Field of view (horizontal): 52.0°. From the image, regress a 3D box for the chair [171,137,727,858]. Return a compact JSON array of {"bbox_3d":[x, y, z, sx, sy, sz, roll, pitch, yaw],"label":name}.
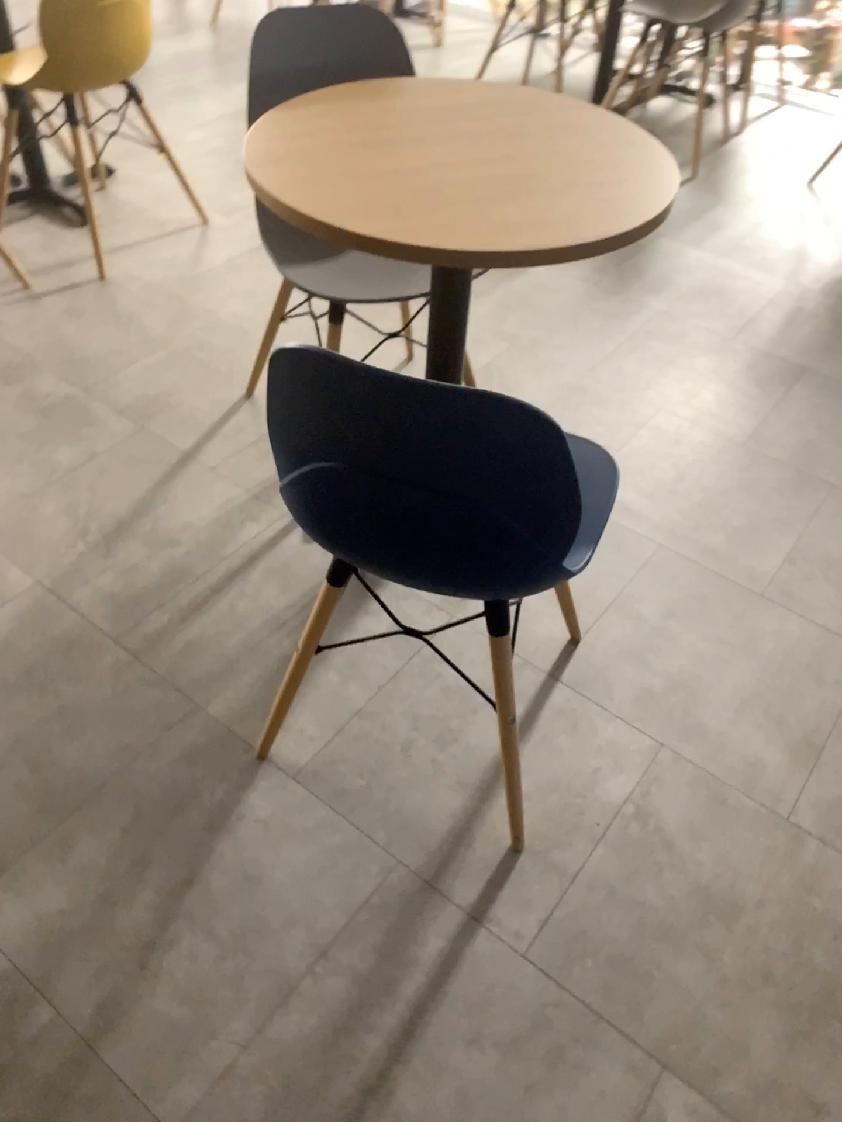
[{"bbox_3d":[0.049,-0.065,1.248,0.490,0.809,0.501,16,46,12],"label":"chair"}]
